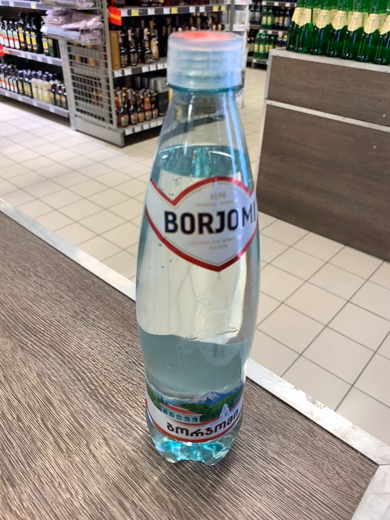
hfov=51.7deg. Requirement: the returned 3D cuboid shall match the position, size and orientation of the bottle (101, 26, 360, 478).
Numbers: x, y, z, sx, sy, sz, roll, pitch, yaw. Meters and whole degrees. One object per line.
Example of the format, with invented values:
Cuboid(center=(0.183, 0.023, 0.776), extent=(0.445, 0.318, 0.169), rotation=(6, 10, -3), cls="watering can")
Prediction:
Cuboid(center=(0.005, 0.015, 0.217), extent=(0.080, 0.239, 0.070), rotation=(-4, 35, -8), cls="bottle")
